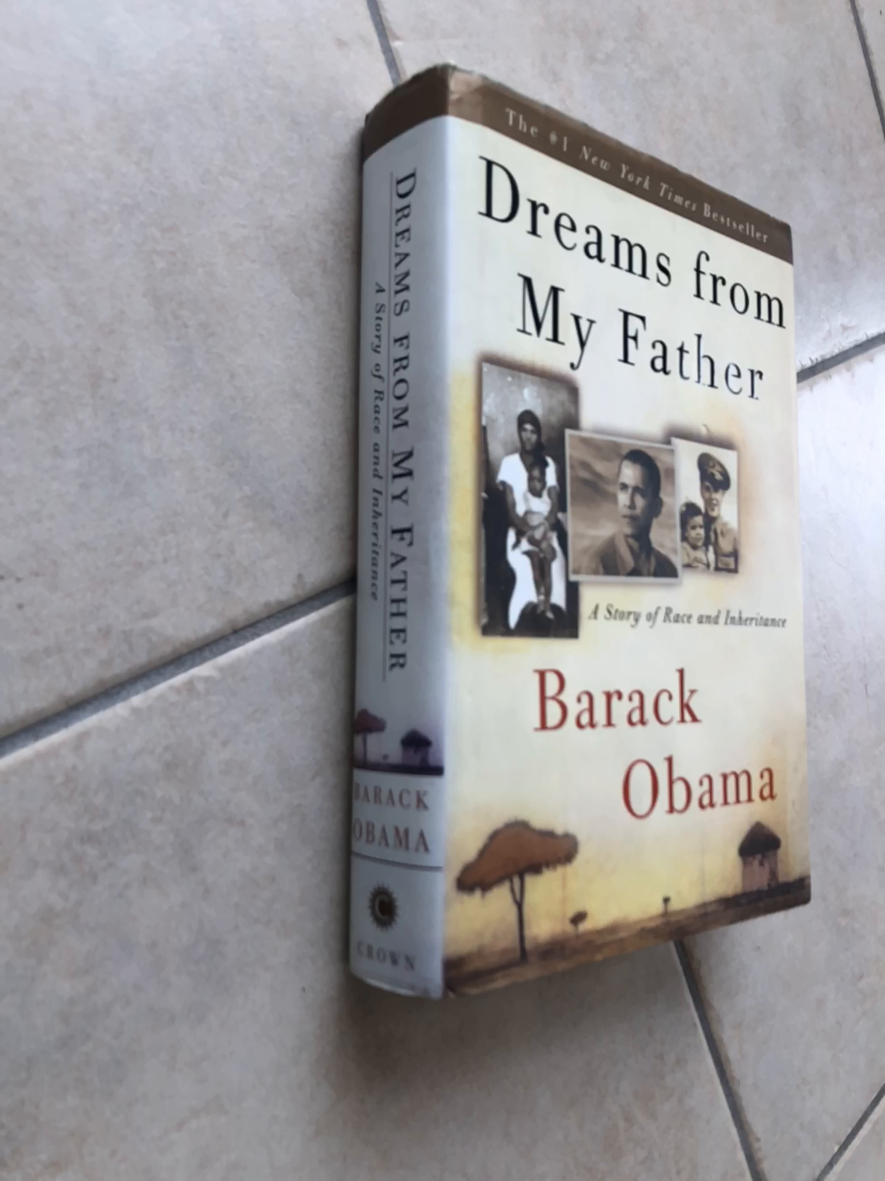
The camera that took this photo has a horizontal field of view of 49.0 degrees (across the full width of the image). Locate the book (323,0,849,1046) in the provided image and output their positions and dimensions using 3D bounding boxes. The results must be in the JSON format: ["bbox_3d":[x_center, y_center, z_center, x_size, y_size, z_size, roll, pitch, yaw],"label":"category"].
[{"bbox_3d":[0.053,-0.025,0.301,0.171,0.050,0.270,5,83,-37],"label":"book"}]
